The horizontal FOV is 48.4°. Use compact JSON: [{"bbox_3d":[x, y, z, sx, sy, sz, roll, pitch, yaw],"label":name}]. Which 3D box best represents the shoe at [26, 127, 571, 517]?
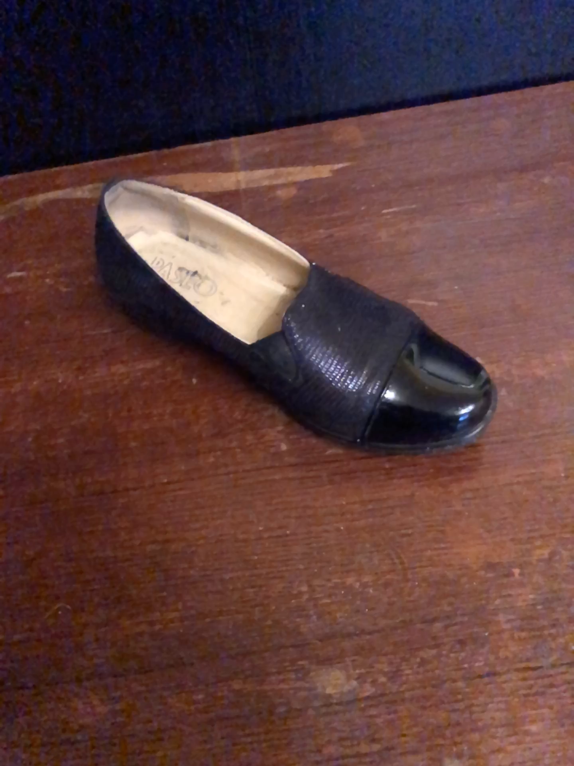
[{"bbox_3d":[-0.001,-0.040,0.325,0.236,0.090,0.089,24,61,23],"label":"shoe"}]
